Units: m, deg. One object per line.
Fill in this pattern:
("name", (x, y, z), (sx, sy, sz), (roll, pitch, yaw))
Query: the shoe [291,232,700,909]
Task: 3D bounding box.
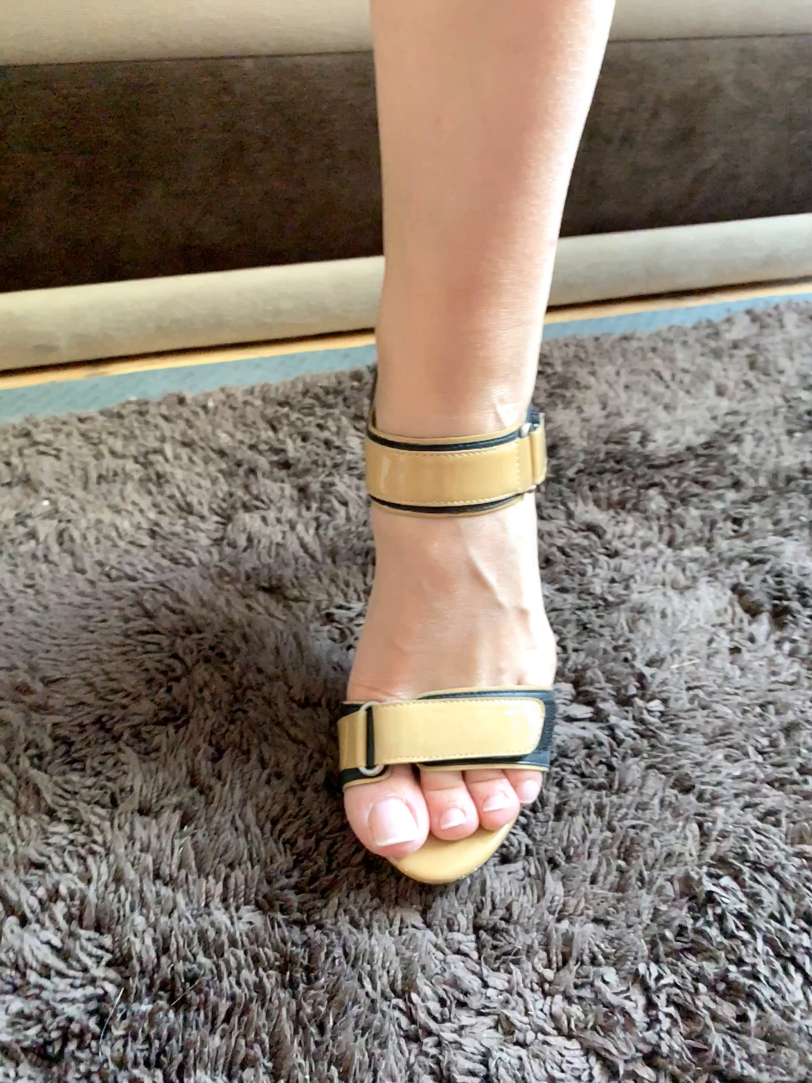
("shoe", (0.014, -0.001, 0.309), (0.090, 0.149, 0.201), (-1, 41, -3))
